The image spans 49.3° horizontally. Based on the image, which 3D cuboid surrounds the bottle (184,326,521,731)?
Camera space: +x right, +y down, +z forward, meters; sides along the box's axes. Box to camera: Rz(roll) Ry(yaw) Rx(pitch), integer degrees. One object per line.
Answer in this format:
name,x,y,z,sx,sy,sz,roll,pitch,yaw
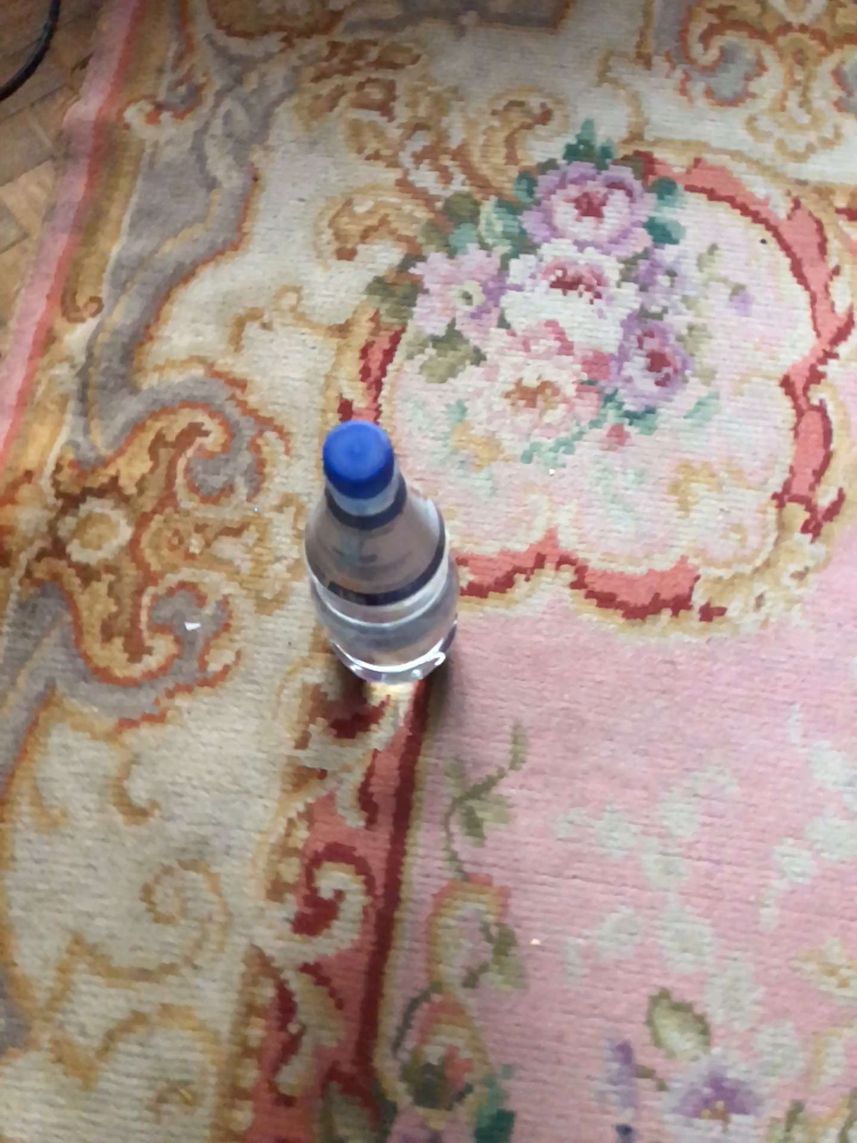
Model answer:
bottle,-0.032,0.001,0.559,0.110,0.309,0.100,0,73,0
